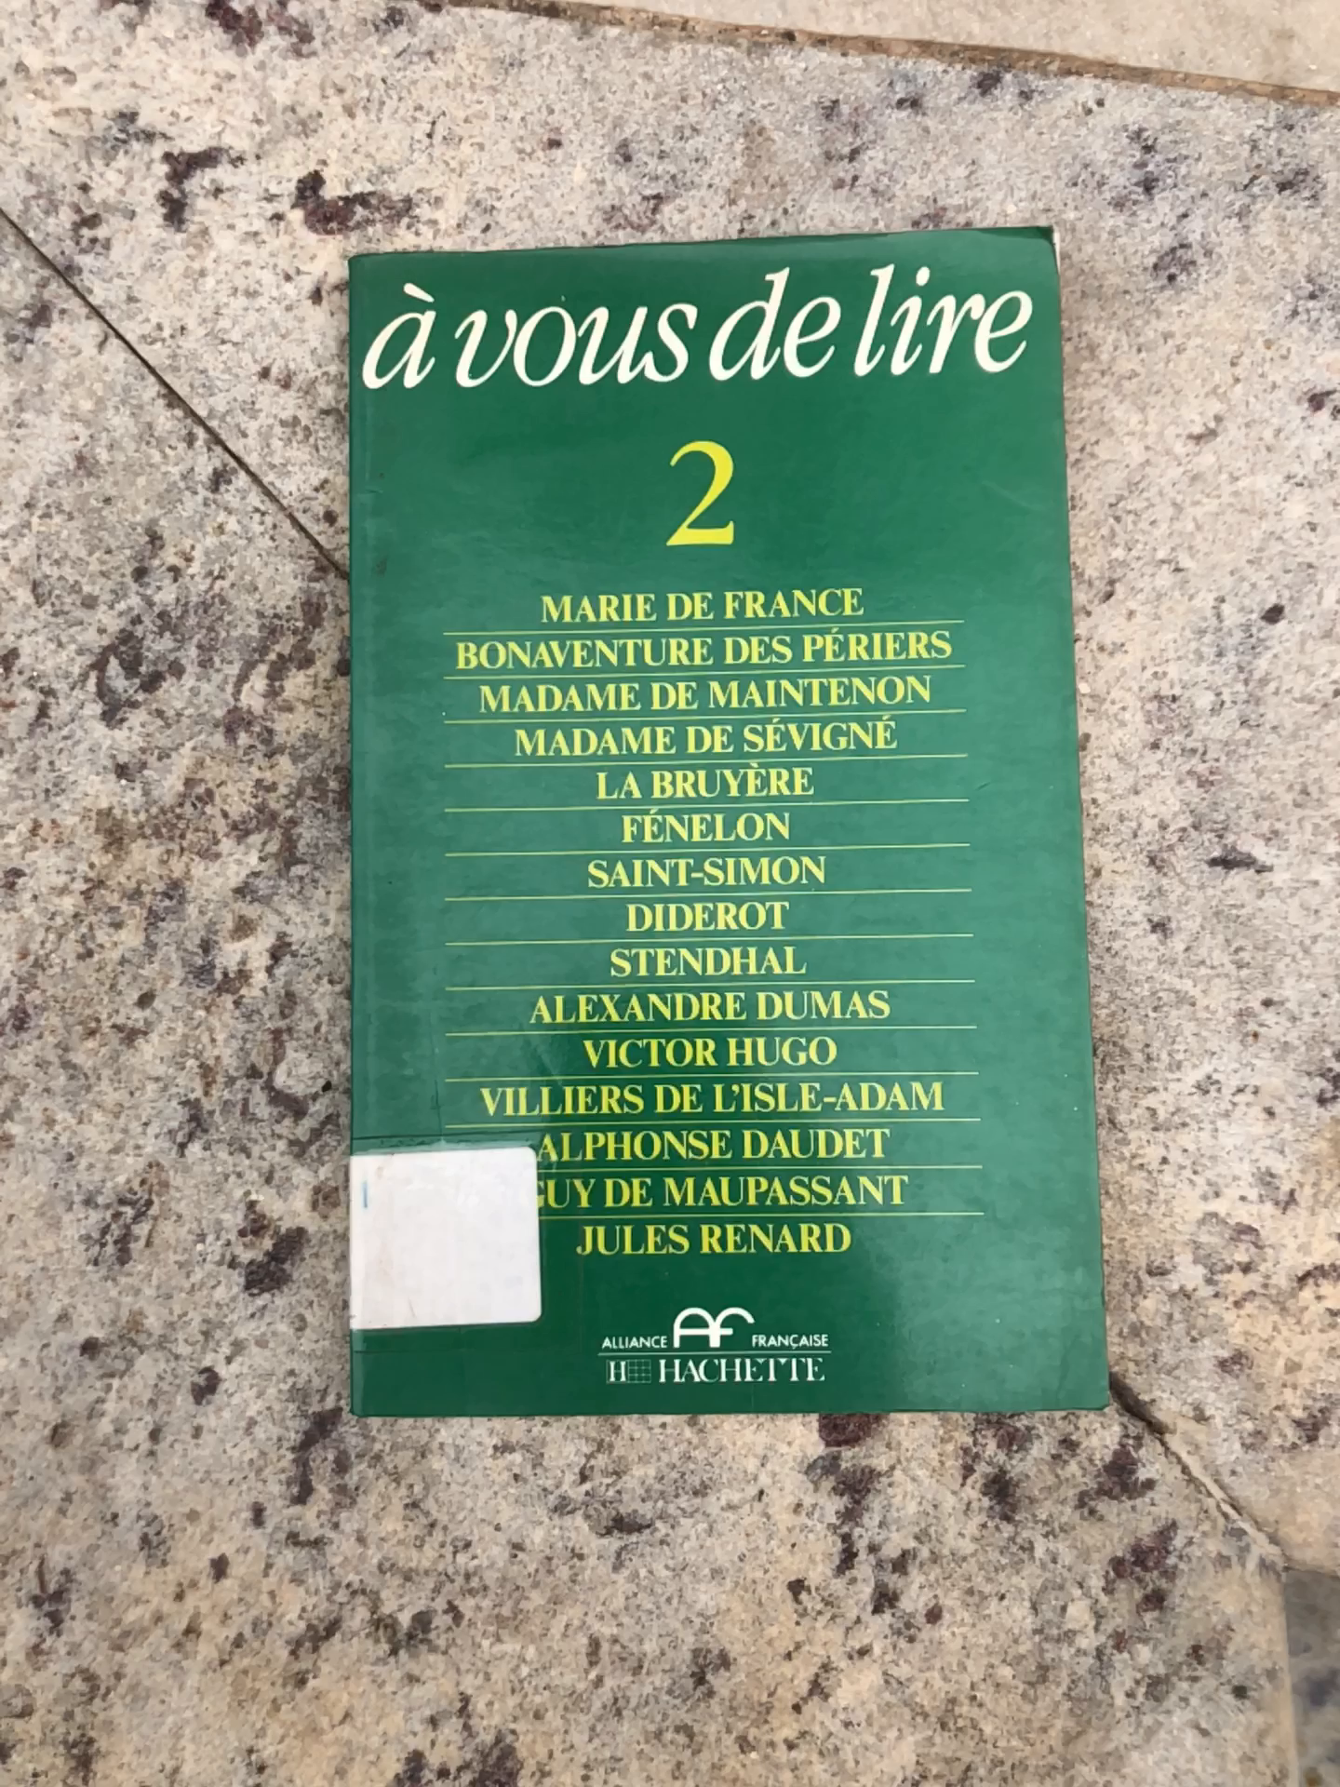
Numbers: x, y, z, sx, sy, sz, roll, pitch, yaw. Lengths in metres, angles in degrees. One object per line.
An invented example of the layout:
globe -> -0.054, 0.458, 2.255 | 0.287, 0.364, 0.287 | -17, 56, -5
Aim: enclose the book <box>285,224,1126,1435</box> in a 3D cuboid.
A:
book -> 0.004, -0.013, 0.268 | 0.140, 0.017, 0.210 | -1, 84, 3
